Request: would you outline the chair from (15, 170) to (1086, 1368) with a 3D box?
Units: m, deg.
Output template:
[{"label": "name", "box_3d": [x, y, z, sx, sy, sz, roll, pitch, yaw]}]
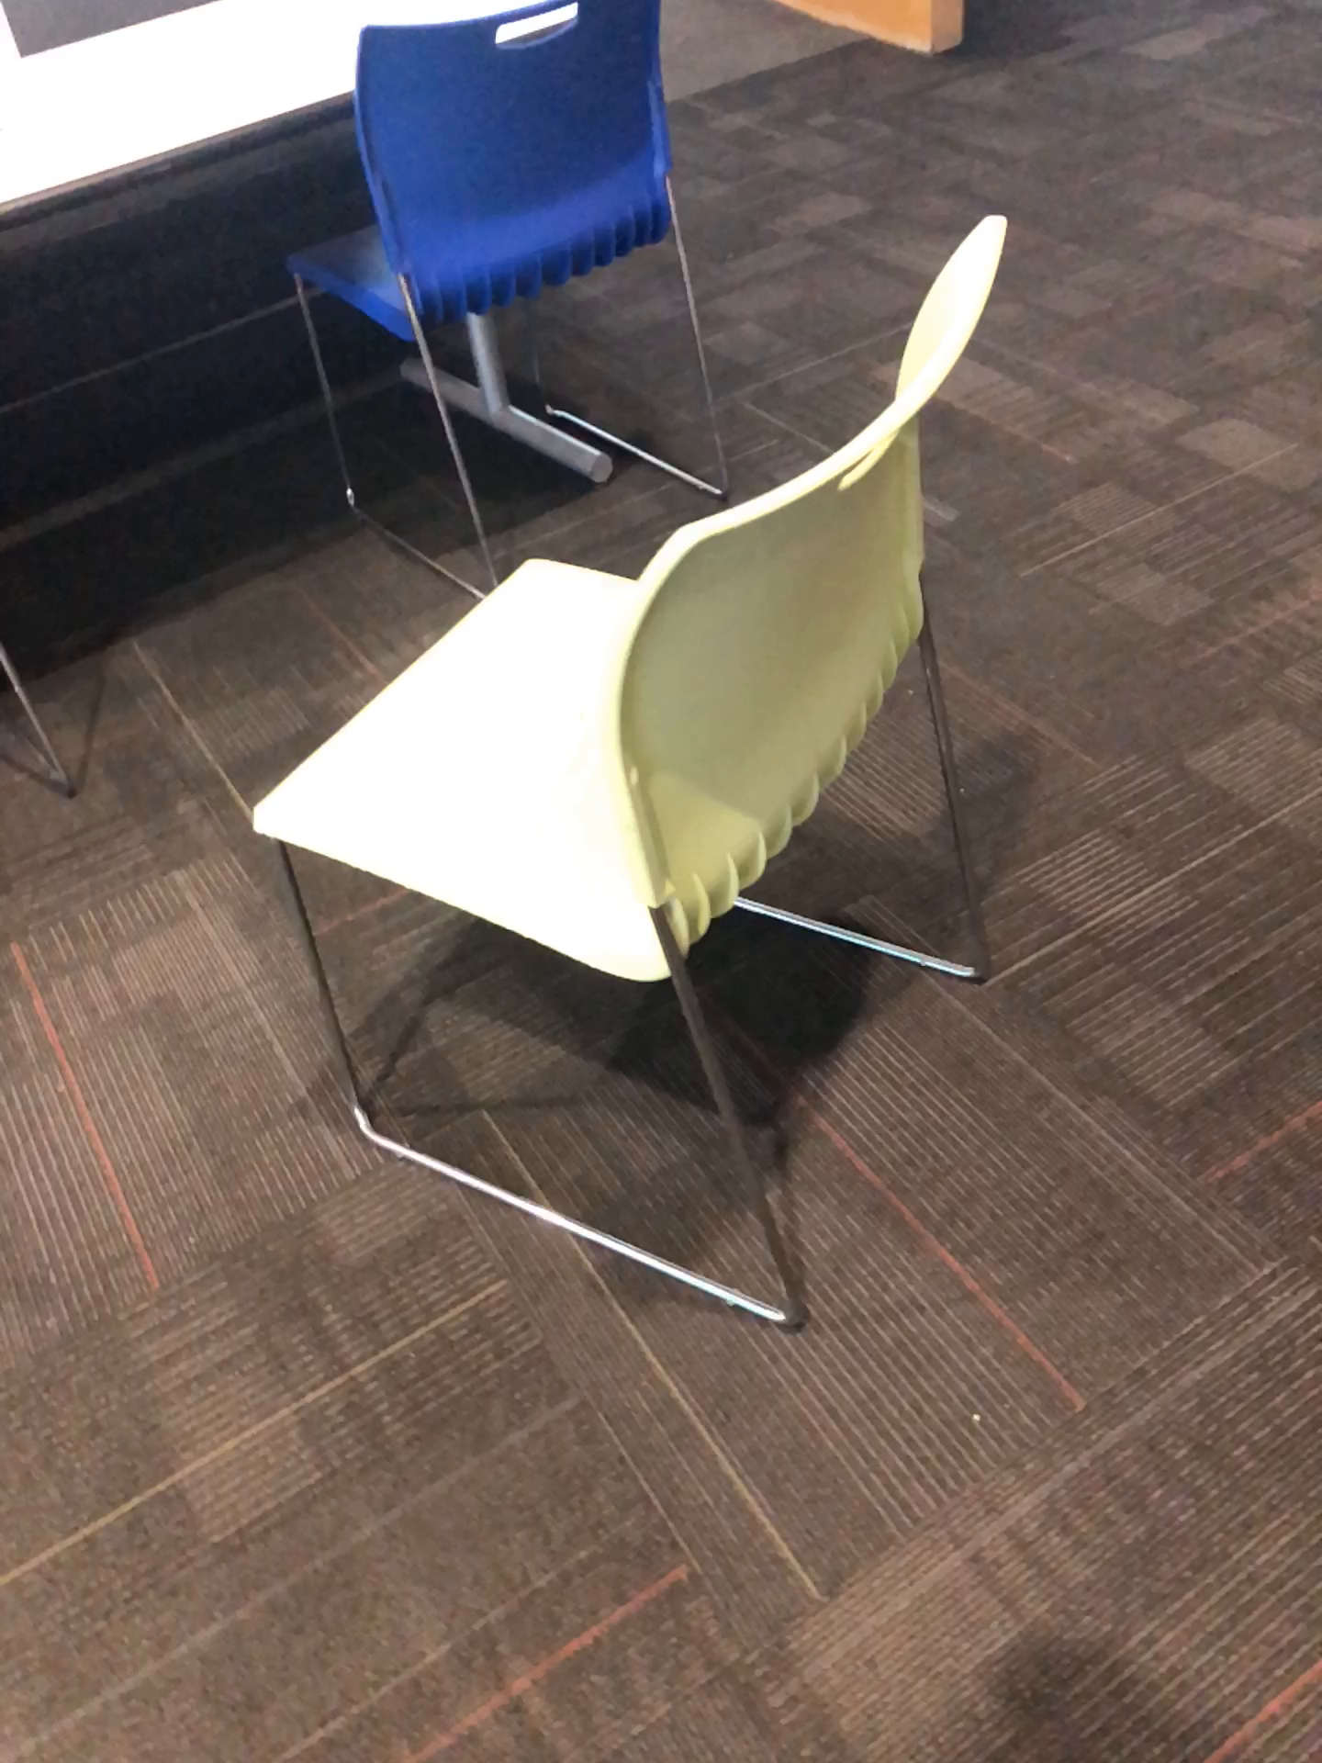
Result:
[{"label": "chair", "box_3d": [-0.017, -0.110, 1.257, 0.541, 0.756, 0.541, 17, 47, 26]}]
